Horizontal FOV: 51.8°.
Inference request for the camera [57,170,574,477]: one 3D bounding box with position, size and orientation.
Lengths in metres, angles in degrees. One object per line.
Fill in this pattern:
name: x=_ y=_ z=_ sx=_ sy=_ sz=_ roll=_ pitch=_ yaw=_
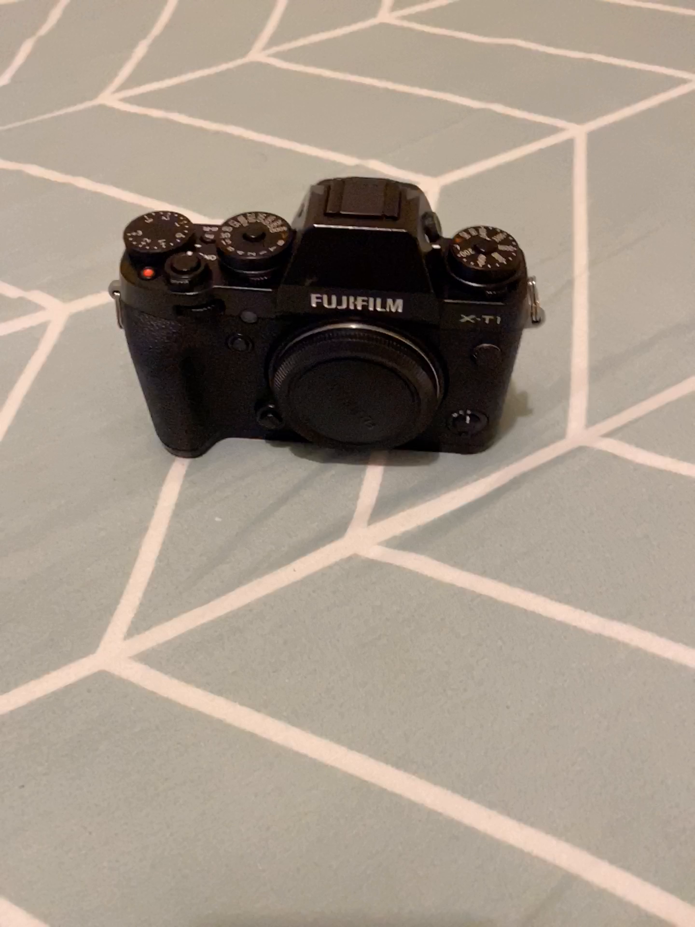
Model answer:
camera: x=-0.007 y=-0.045 z=0.244 sx=0.142 sy=0.082 sz=0.054 roll=3 pitch=52 yaw=4
